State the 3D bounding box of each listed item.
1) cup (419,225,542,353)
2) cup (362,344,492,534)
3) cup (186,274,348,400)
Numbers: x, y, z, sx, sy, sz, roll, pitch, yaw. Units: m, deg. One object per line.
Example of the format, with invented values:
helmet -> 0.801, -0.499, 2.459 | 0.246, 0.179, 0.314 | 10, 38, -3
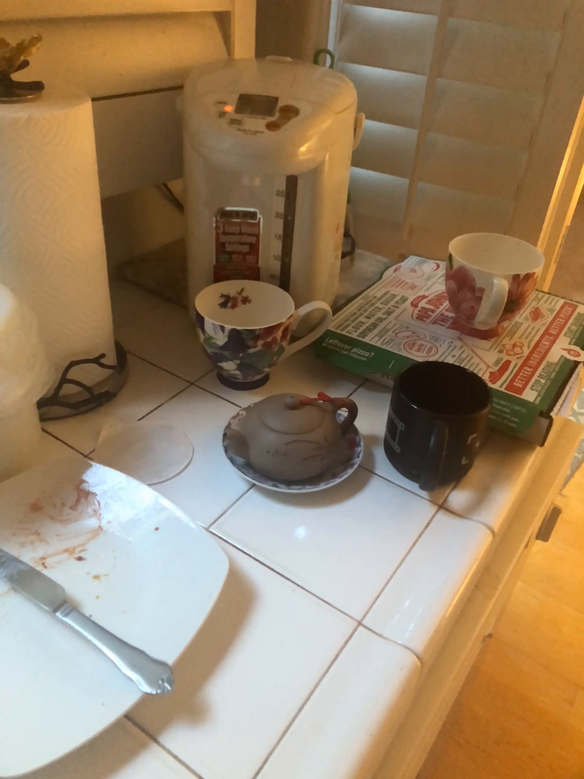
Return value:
cup -> 0.220, -0.121, 0.744 | 0.110, 0.069, 0.151 | 14, 37, 13
cup -> 0.132, 0.042, 0.622 | 0.090, 0.099, 0.141 | 13, 36, 11
cup -> -0.033, -0.063, 0.730 | 0.160, 0.089, 0.111 | -4, 36, -12
